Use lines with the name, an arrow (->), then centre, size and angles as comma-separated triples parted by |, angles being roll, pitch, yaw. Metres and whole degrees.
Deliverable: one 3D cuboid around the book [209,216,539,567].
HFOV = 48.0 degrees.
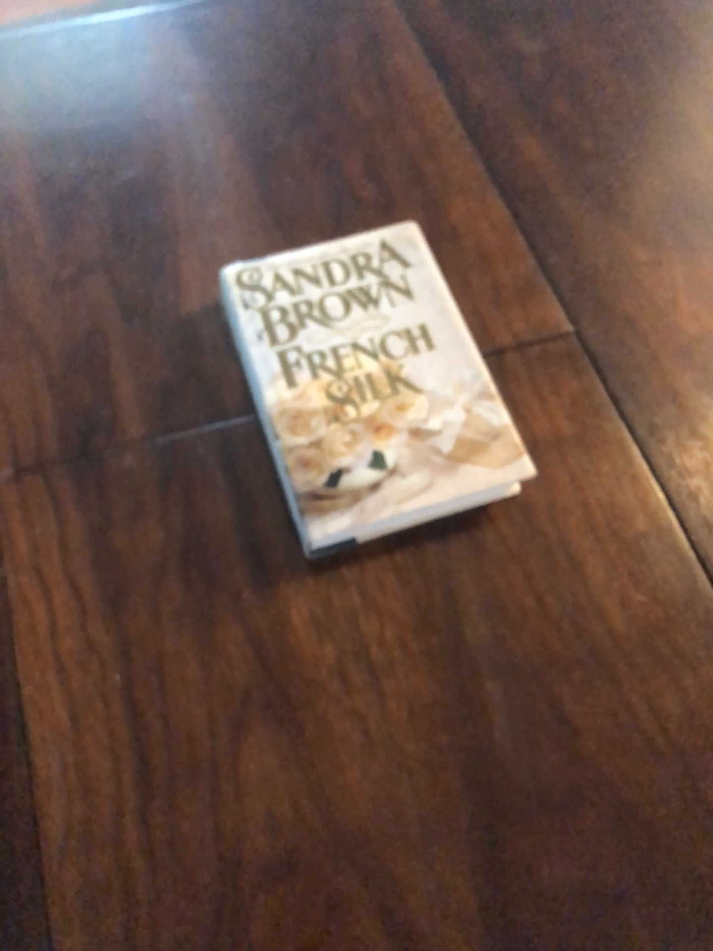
book -> 0.004, -0.071, 0.577 | 0.161, 0.033, 0.240 | -17, 64, -9
